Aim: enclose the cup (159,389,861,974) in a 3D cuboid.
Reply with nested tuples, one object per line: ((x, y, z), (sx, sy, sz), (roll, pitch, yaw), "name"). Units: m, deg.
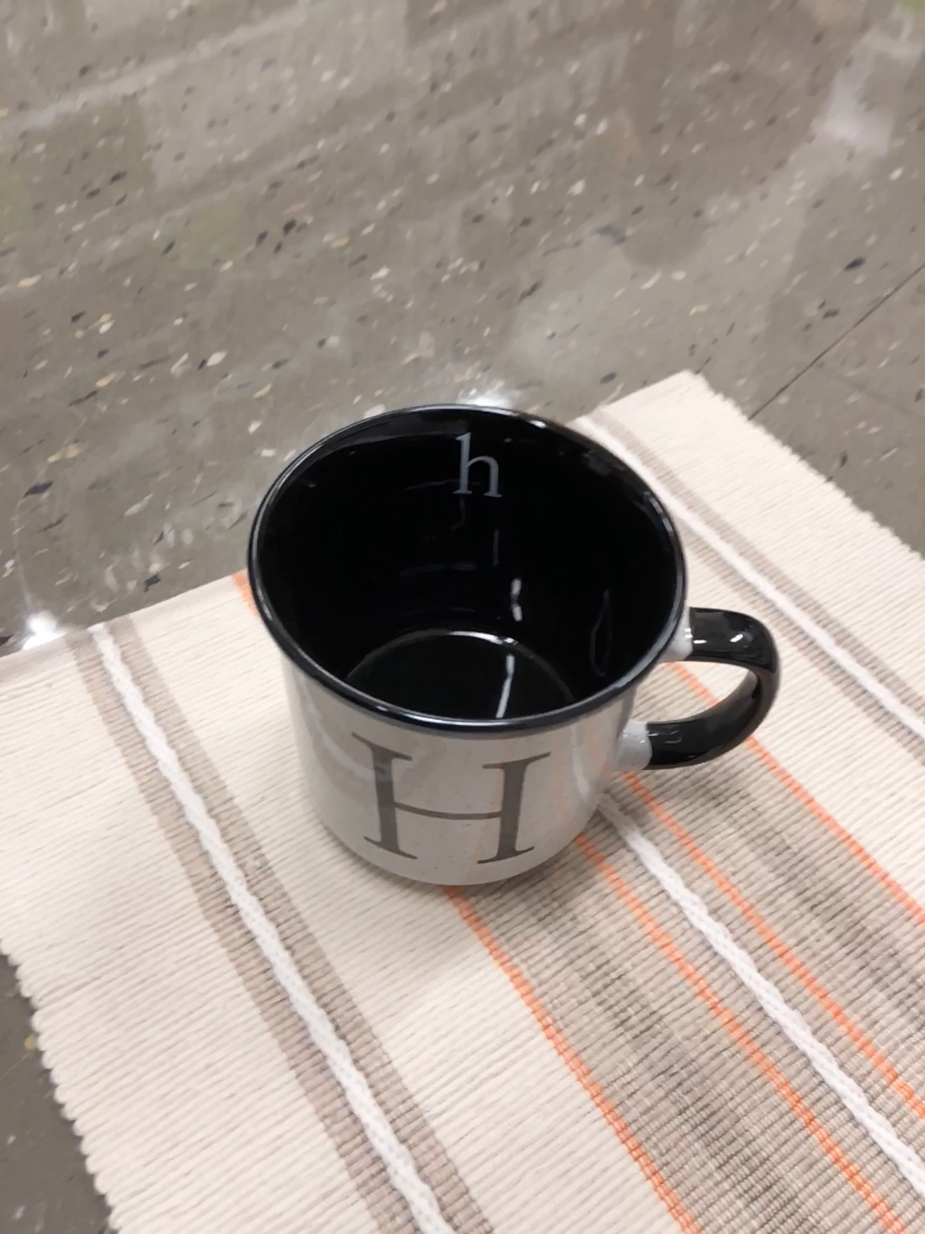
((0.013, 0.018, 0.275), (0.140, 0.100, 0.100), (7, 51, 3), "cup")
